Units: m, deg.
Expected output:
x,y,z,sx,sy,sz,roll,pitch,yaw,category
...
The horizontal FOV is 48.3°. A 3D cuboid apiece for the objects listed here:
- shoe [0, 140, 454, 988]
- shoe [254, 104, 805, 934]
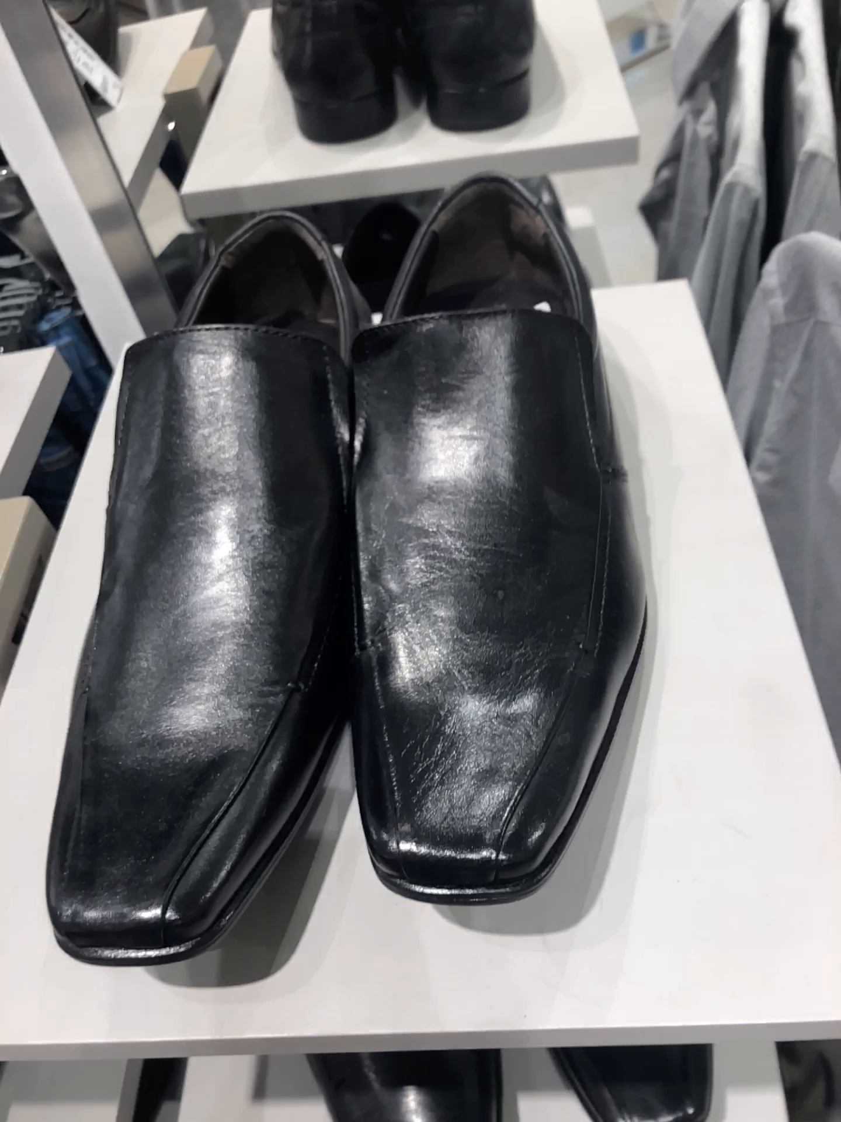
x,y,z,sx,sy,sz,roll,pitch,yaw,category
-0.054,-0.023,0.333,0.110,0.099,0.302,-4,48,9,shoe
0.035,-0.035,0.317,0.110,0.099,0.282,-4,48,9,shoe
